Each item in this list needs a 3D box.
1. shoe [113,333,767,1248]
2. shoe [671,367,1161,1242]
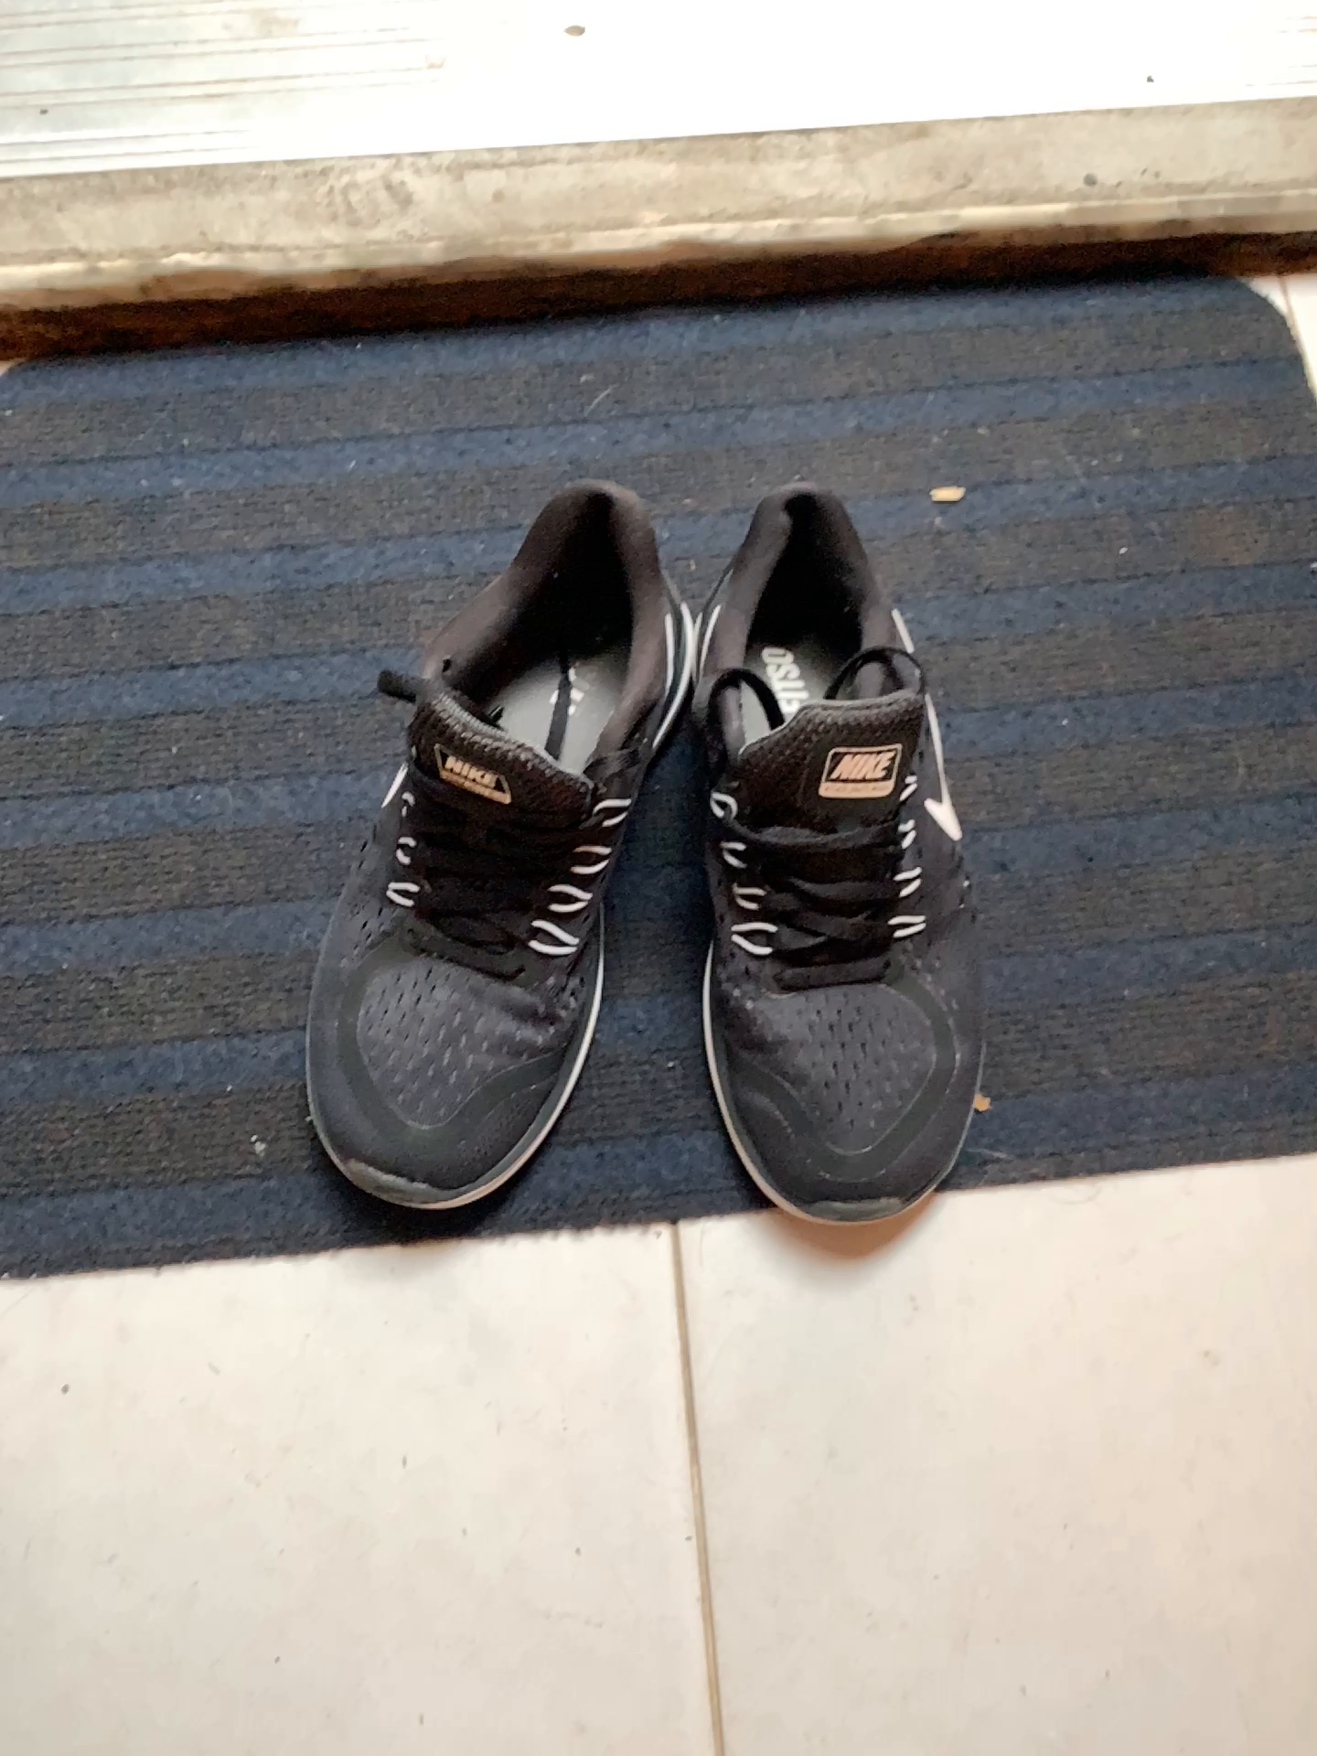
[{"bbox_3d":[-0.052,-0.026,0.433,0.104,0.119,0.248,16,70,6],"label":"shoe"},{"bbox_3d":[0.064,-0.020,0.431,0.106,0.119,0.248,-2,69,-1],"label":"shoe"}]
